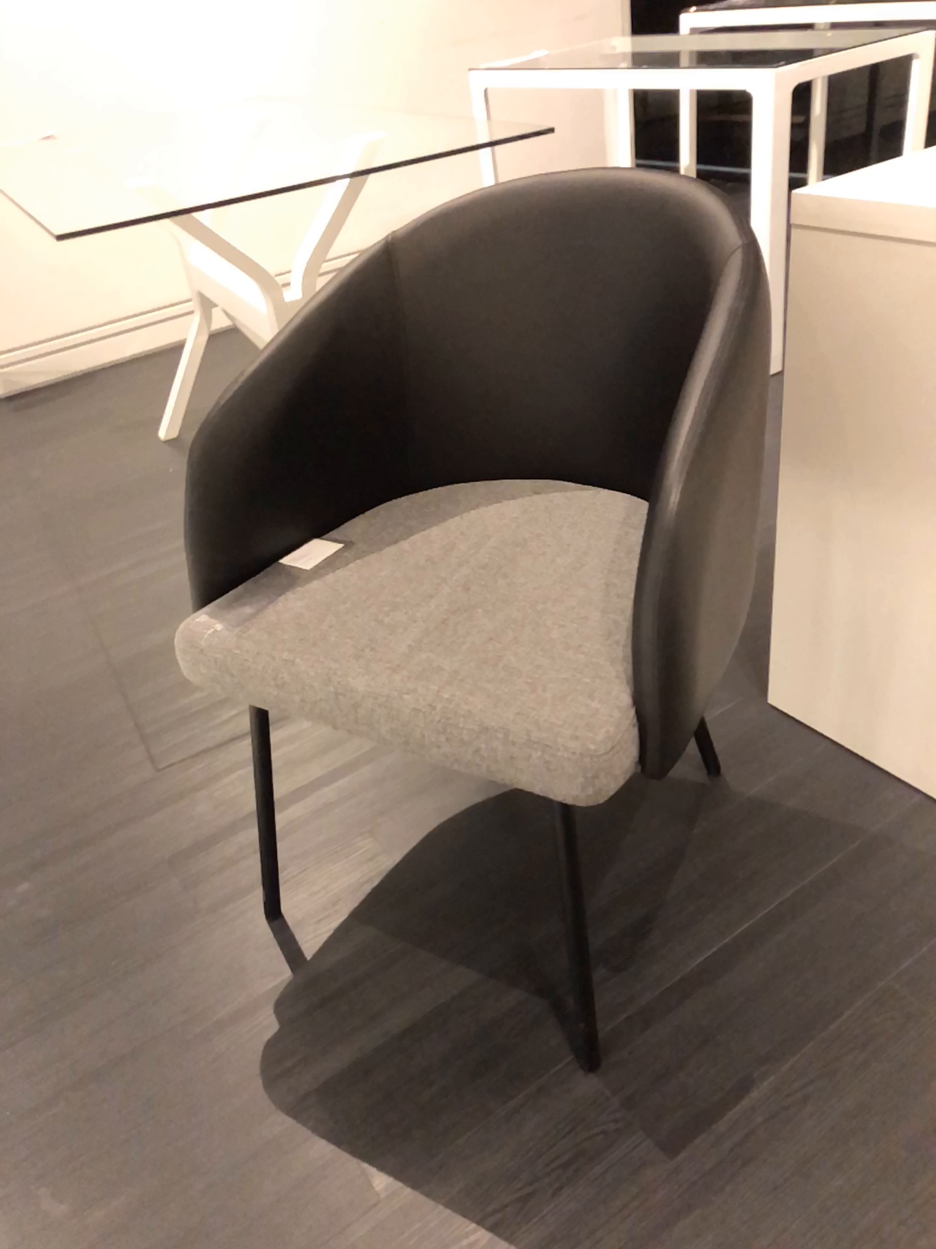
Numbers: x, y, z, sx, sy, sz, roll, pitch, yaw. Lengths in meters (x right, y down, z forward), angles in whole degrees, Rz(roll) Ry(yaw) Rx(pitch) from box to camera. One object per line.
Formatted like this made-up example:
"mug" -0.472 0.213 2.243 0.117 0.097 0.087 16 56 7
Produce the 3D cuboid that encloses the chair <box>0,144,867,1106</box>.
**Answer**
"chair" 0.023 -0.062 1.167 0.611 0.764 0.593 14 39 32
